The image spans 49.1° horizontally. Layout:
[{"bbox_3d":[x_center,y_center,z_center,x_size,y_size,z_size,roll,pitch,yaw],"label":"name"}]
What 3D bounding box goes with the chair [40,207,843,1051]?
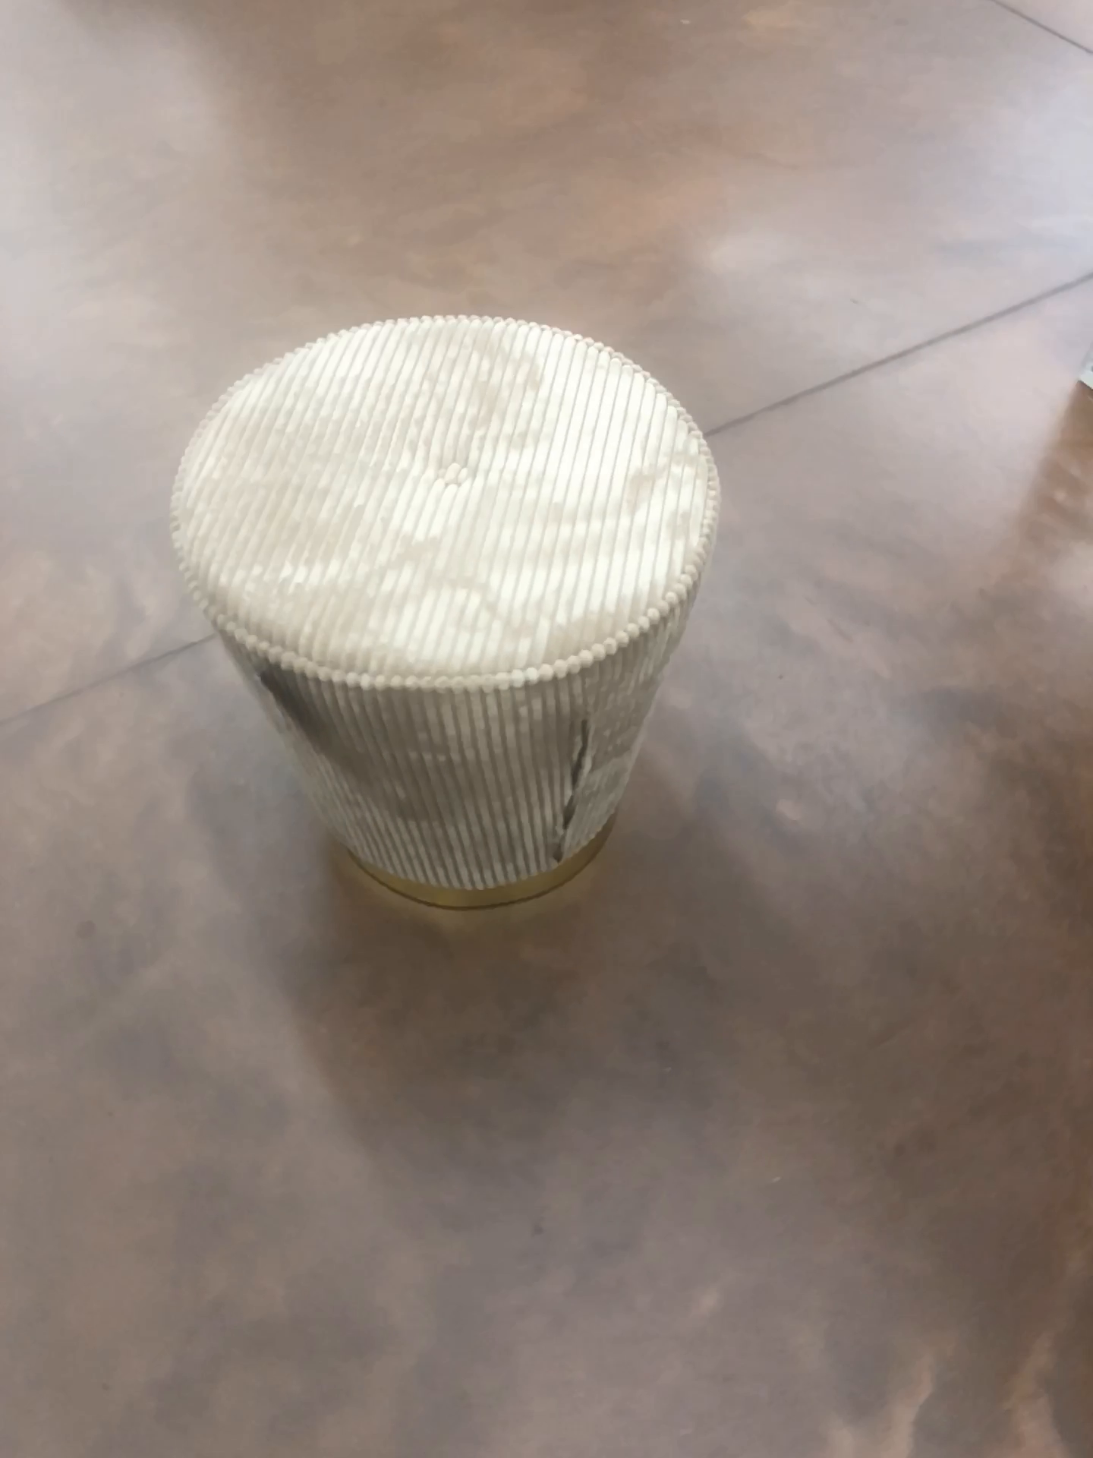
[{"bbox_3d":[-0.082,-0.092,1.107,0.451,0.479,0.420,38,61,25],"label":"chair"}]
